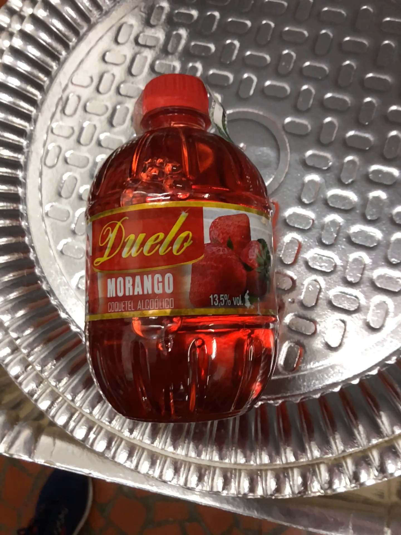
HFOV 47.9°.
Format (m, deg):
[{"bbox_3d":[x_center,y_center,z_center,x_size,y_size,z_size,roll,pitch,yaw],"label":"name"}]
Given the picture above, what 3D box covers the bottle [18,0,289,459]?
[{"bbox_3d":[-0.014,-0.010,0.188,0.090,0.070,0.150,-4,83,11],"label":"bottle"}]
